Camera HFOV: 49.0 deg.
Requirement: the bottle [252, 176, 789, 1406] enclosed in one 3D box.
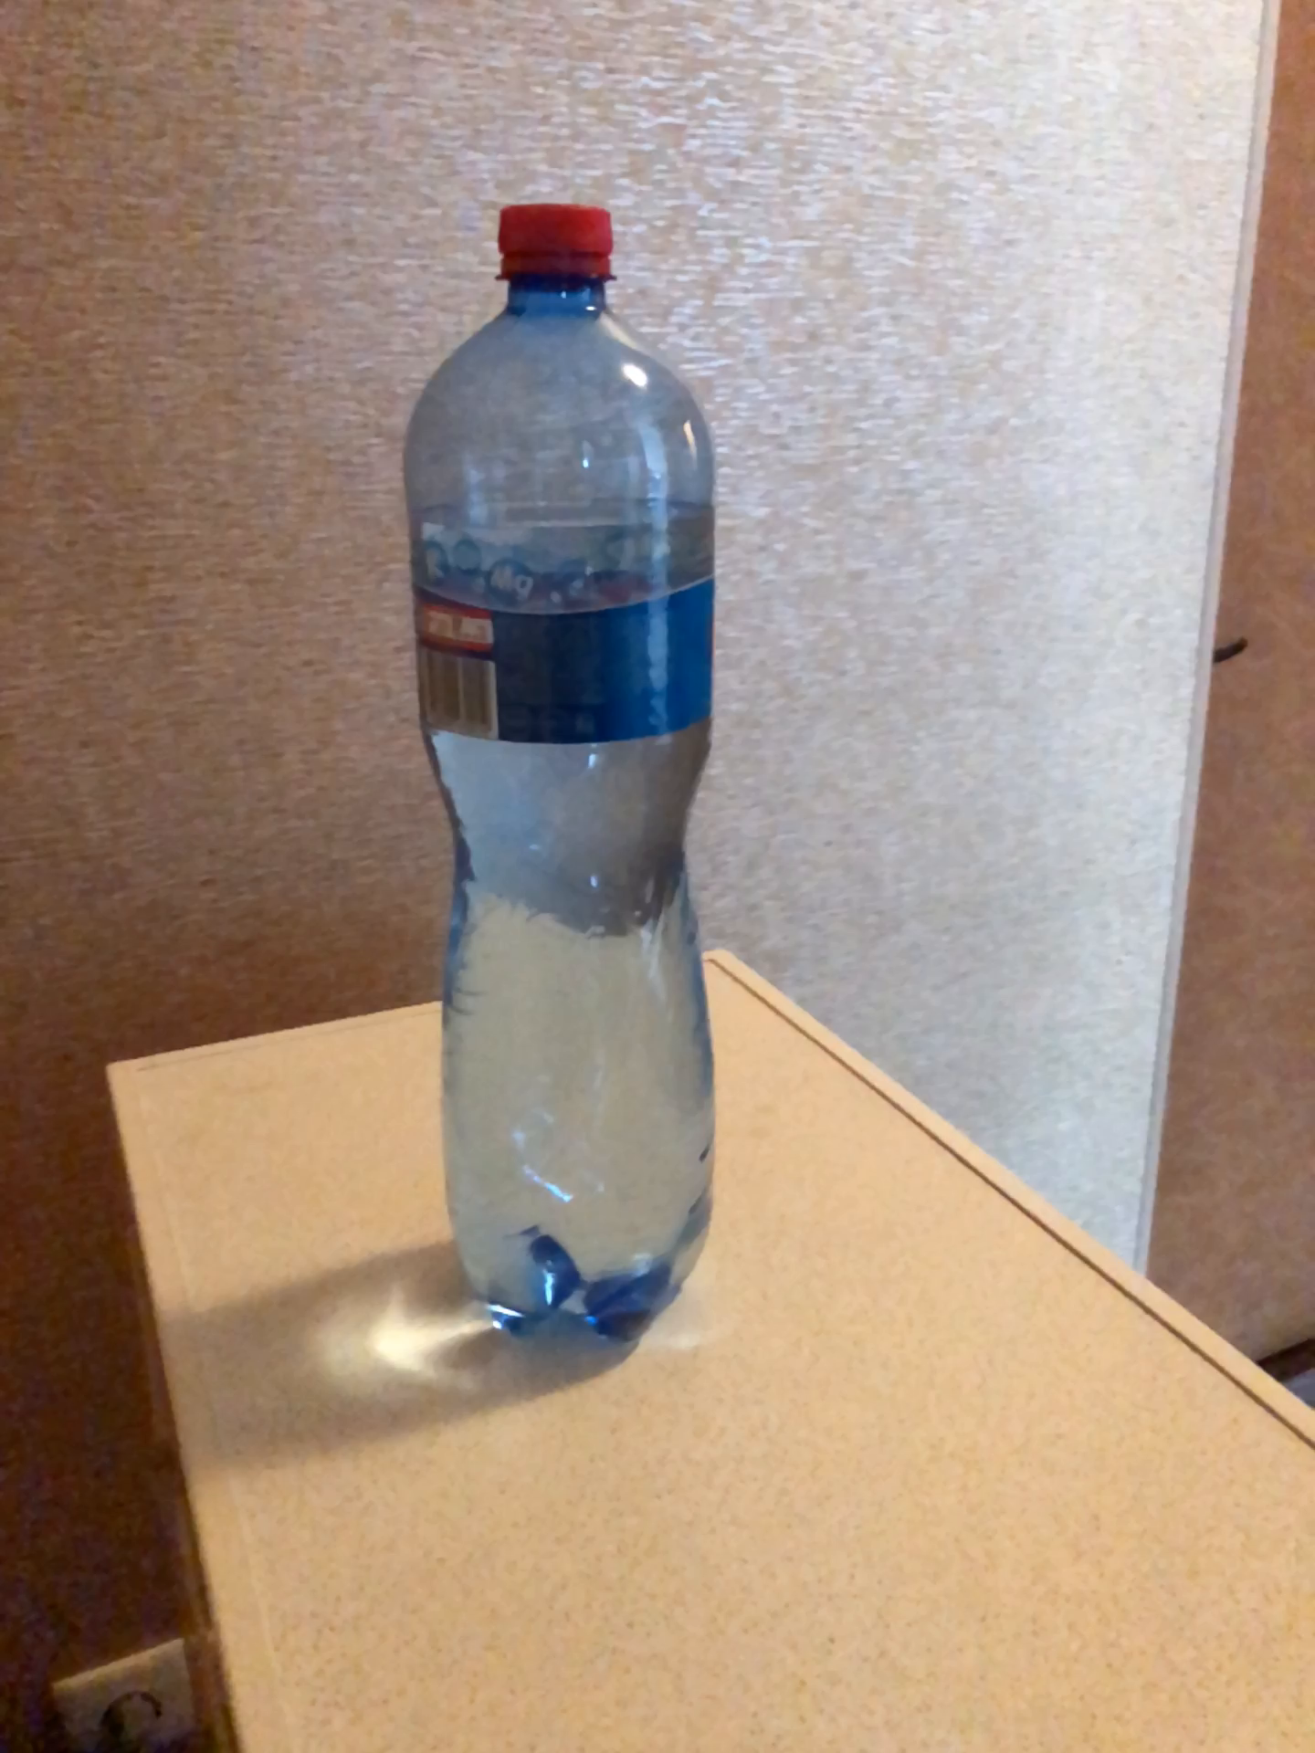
[{"bbox_3d":[-0.031,-0.023,0.428,0.100,0.318,0.100,-1,18,0],"label":"bottle"}]
